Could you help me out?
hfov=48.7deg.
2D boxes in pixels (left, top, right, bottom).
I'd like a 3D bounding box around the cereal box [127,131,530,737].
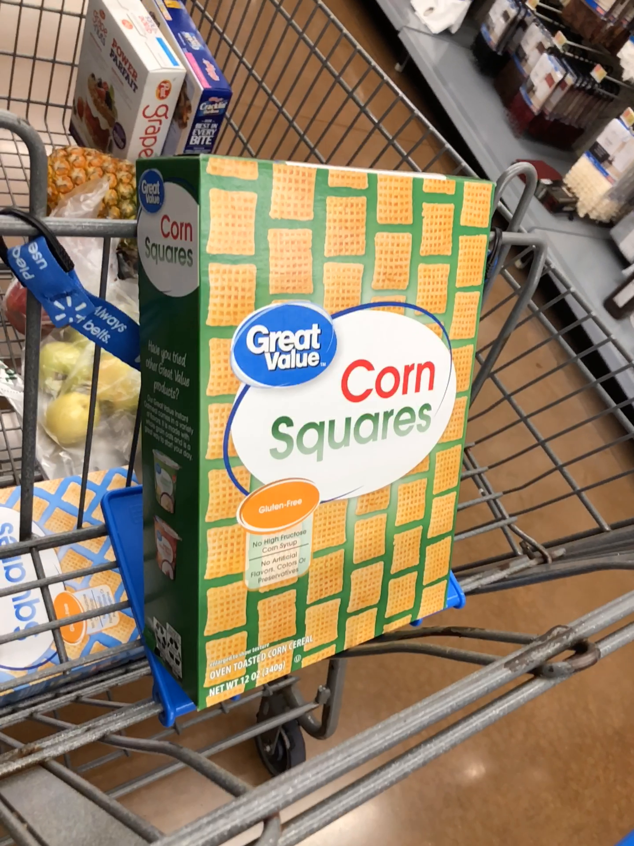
[{"bbox_3d":[0.010,-0.001,0.392,0.201,0.280,0.070,-10,21,-35],"label":"cereal box"}]
